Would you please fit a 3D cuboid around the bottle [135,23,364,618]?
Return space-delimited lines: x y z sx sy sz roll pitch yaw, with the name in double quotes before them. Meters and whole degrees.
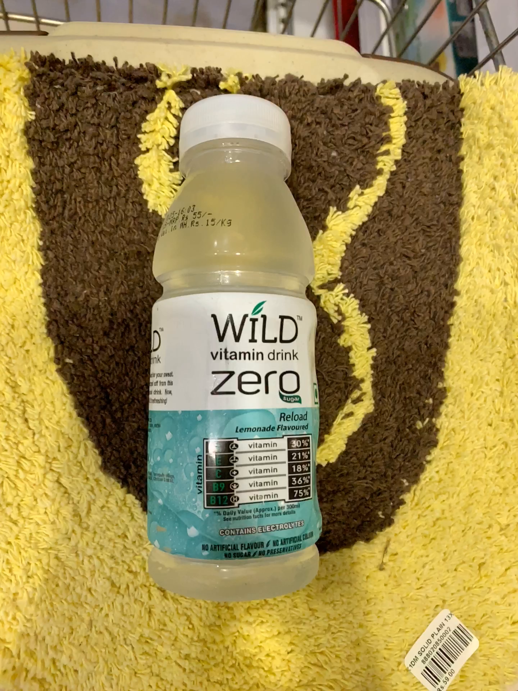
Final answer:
"bottle" -0.006 -0.009 0.169 0.060 0.040 0.160 1 83 -12
